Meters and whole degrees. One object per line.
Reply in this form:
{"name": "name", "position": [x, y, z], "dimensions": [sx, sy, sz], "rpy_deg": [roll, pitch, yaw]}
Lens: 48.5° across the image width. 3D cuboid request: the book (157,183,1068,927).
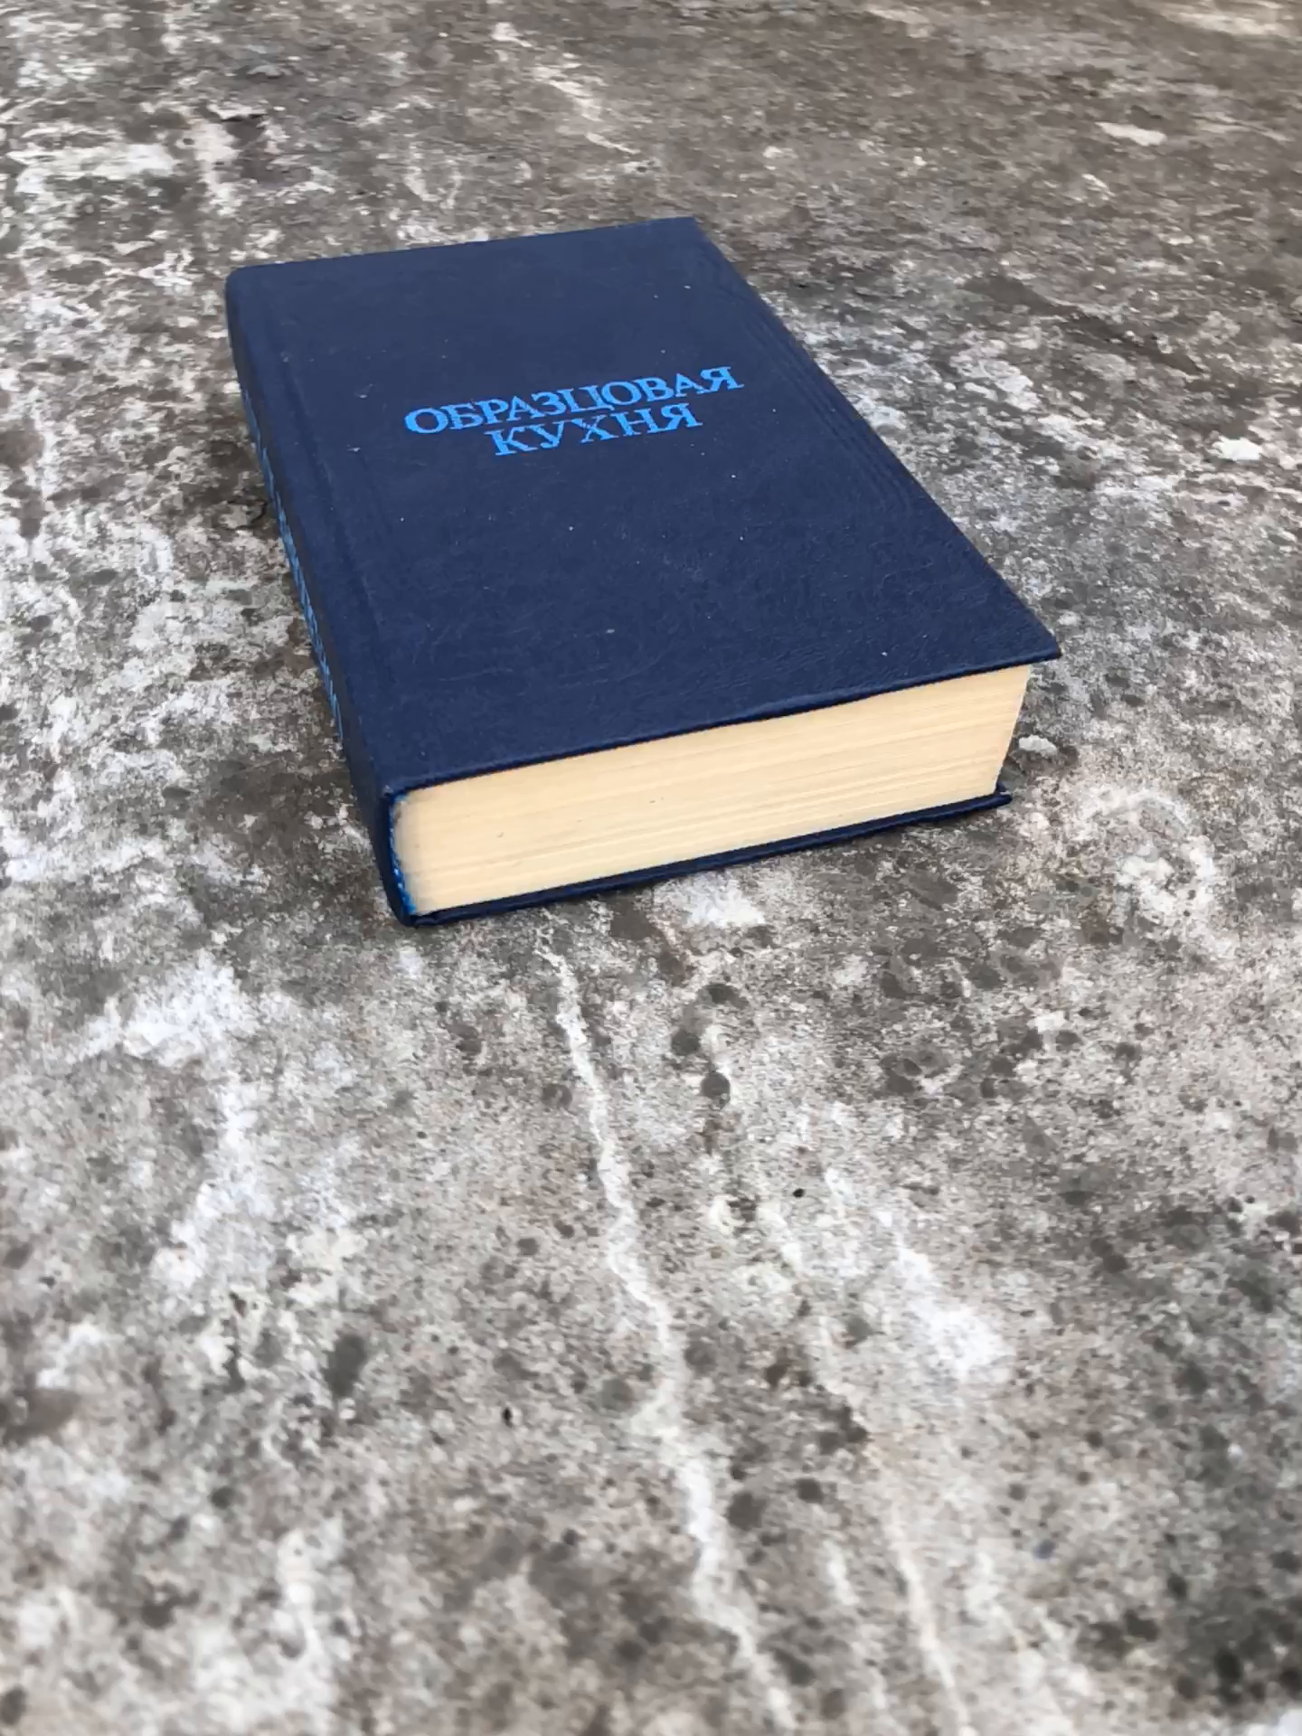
{"name": "book", "position": [-0.025, -0.090, 0.328], "dimensions": [0.140, 0.040, 0.211], "rpy_deg": [-12, 47, -15]}
